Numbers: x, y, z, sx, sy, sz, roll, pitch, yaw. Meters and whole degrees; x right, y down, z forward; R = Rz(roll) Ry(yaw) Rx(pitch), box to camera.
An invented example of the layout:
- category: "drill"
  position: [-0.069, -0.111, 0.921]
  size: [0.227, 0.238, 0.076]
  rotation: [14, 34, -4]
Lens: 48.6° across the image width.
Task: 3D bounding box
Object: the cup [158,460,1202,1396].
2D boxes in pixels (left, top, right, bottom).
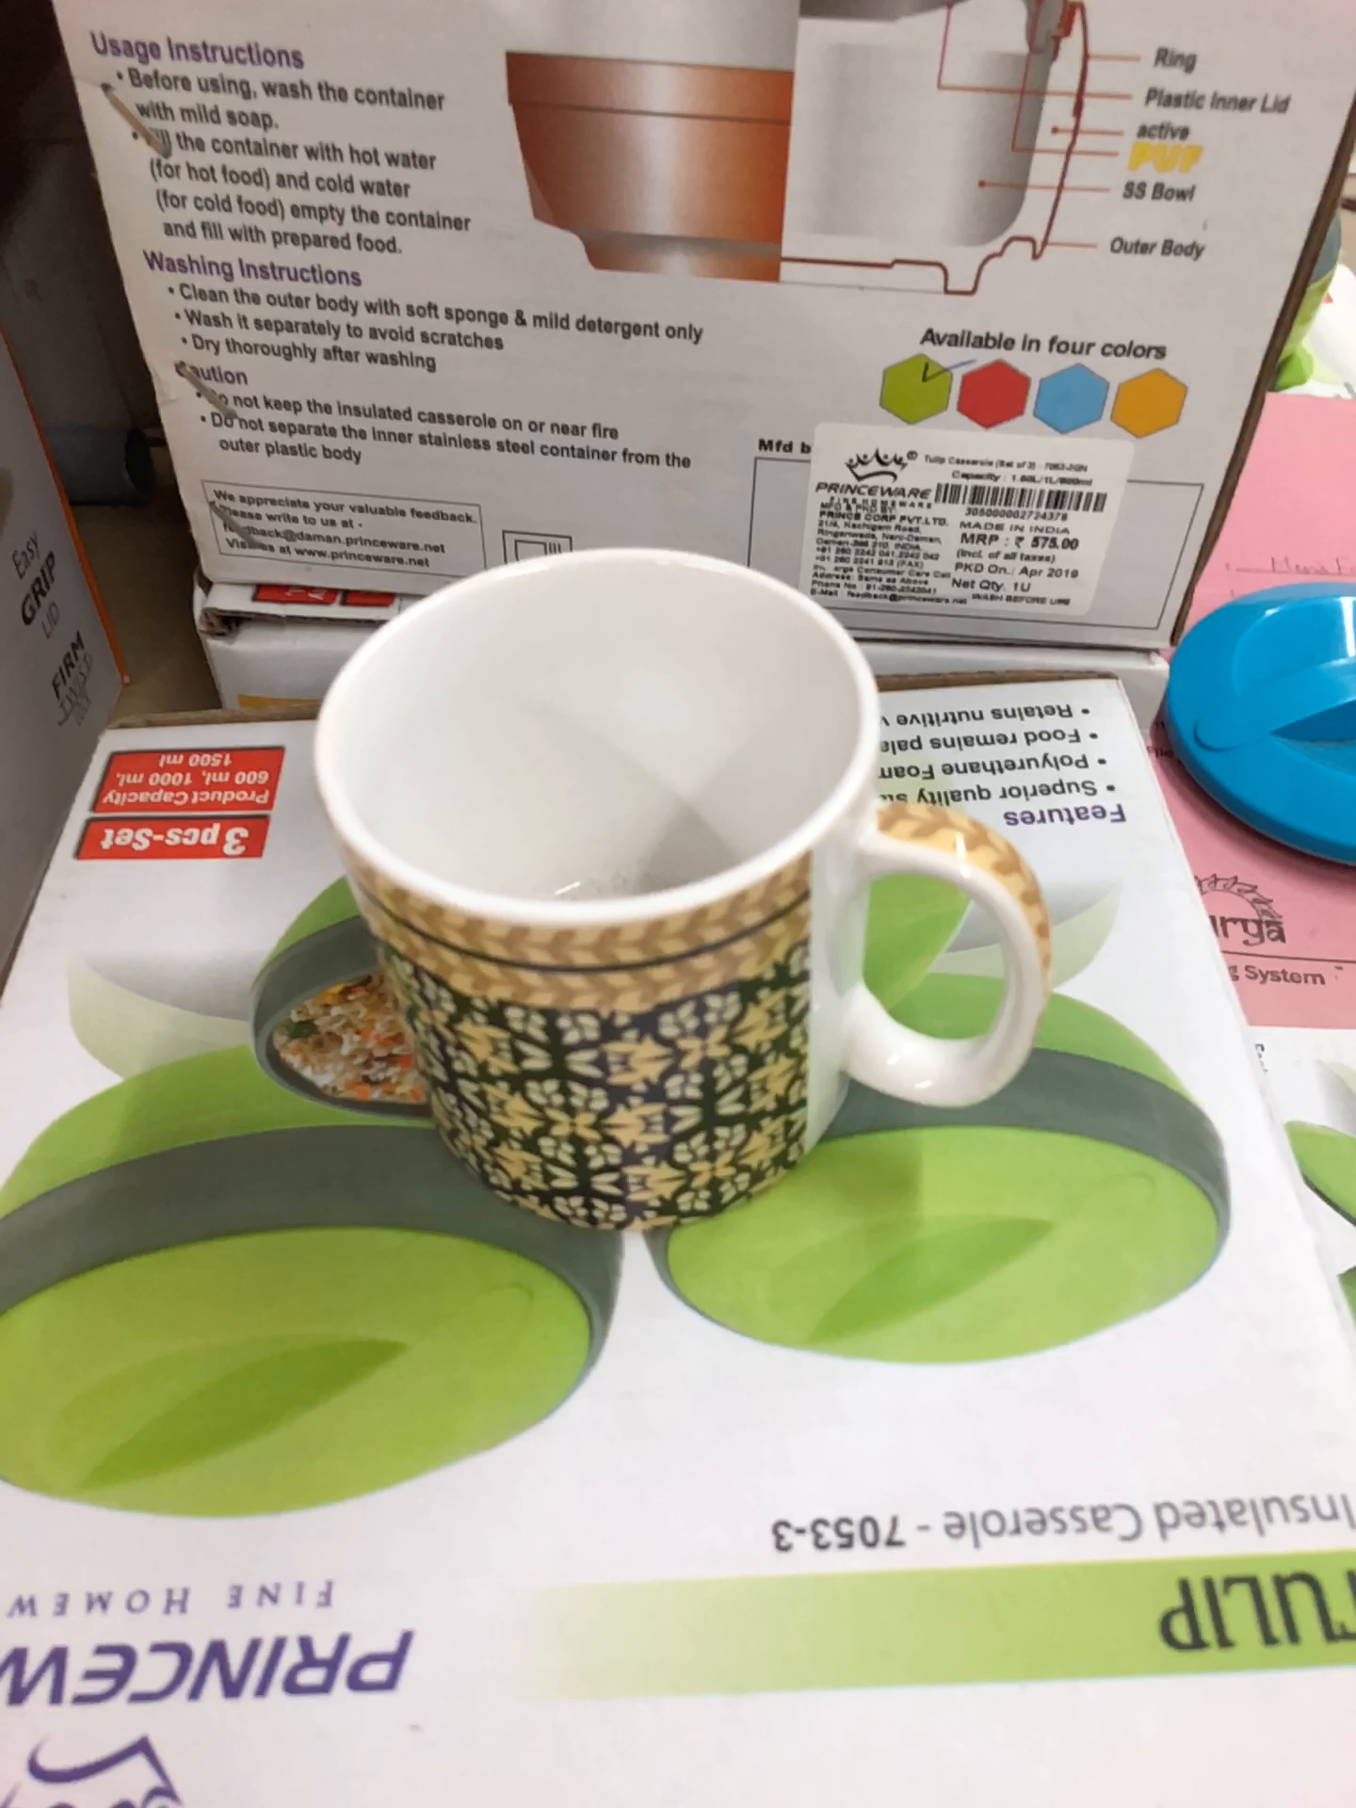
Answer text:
- category: "cup"
  position: [0.005, 0.002, 0.214]
  size: [0.110, 0.089, 0.070]
  rotation: [12, 48, 16]
